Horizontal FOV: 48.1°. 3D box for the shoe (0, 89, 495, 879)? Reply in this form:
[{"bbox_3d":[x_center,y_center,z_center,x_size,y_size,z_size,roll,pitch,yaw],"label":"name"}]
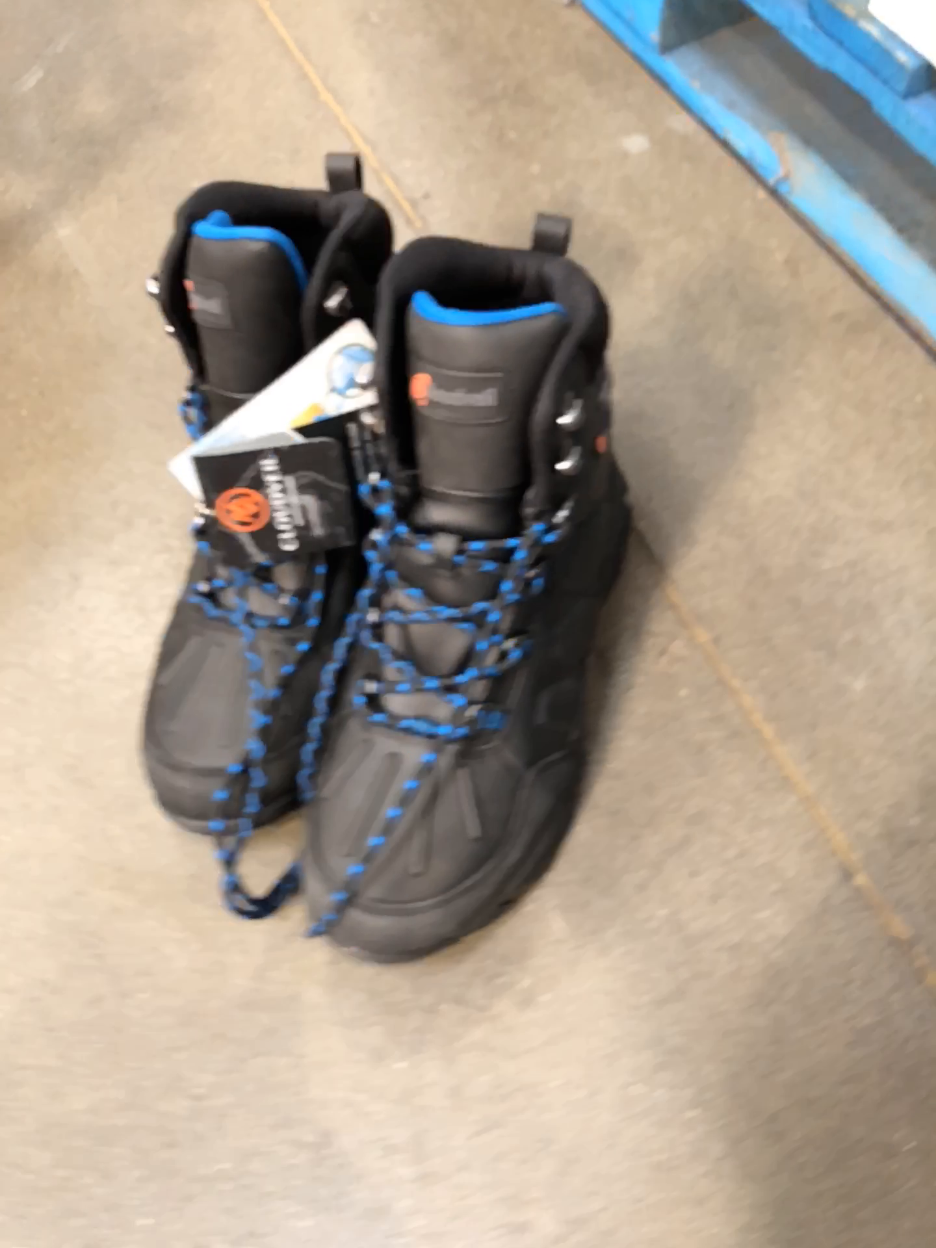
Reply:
[{"bbox_3d":[-0.097,-0.064,0.508,0.120,0.210,0.300,11,64,15],"label":"shoe"}]

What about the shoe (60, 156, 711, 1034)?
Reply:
[{"bbox_3d":[-0.001,-0.008,0.459,0.120,0.210,0.300,16,65,18],"label":"shoe"}]
